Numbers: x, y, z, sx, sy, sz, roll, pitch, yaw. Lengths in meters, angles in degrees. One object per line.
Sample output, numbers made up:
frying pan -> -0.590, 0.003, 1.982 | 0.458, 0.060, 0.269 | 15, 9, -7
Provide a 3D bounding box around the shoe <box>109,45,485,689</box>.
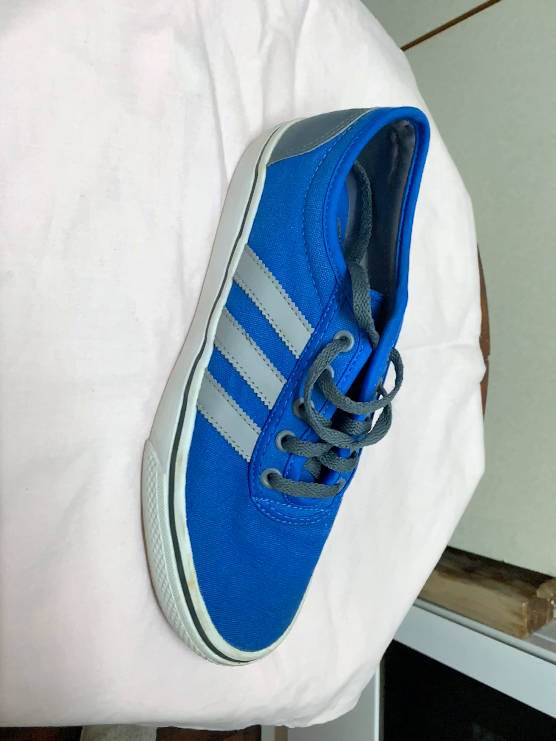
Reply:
shoe -> 0.013, 0.000, 0.268 | 0.100, 0.089, 0.234 | 17, 81, -38
